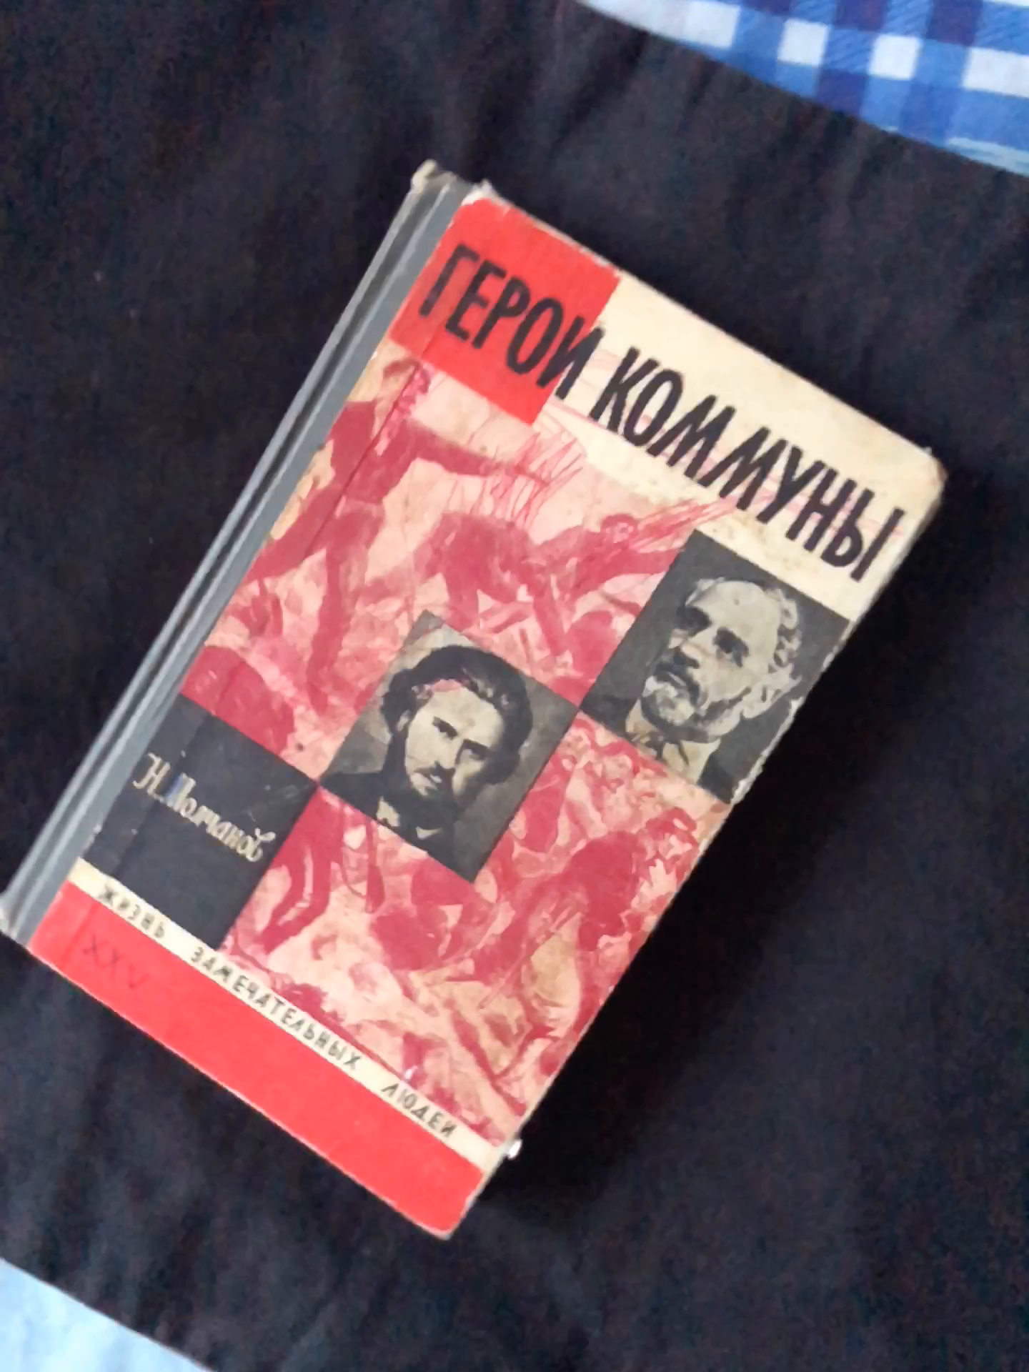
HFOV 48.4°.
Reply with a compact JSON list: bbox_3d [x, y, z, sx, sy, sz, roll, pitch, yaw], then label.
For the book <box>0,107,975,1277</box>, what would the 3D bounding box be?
[{"bbox_3d":[-0.015,0.002,0.262,0.127,0.060,0.200,32,97,7],"label":"book"}]
